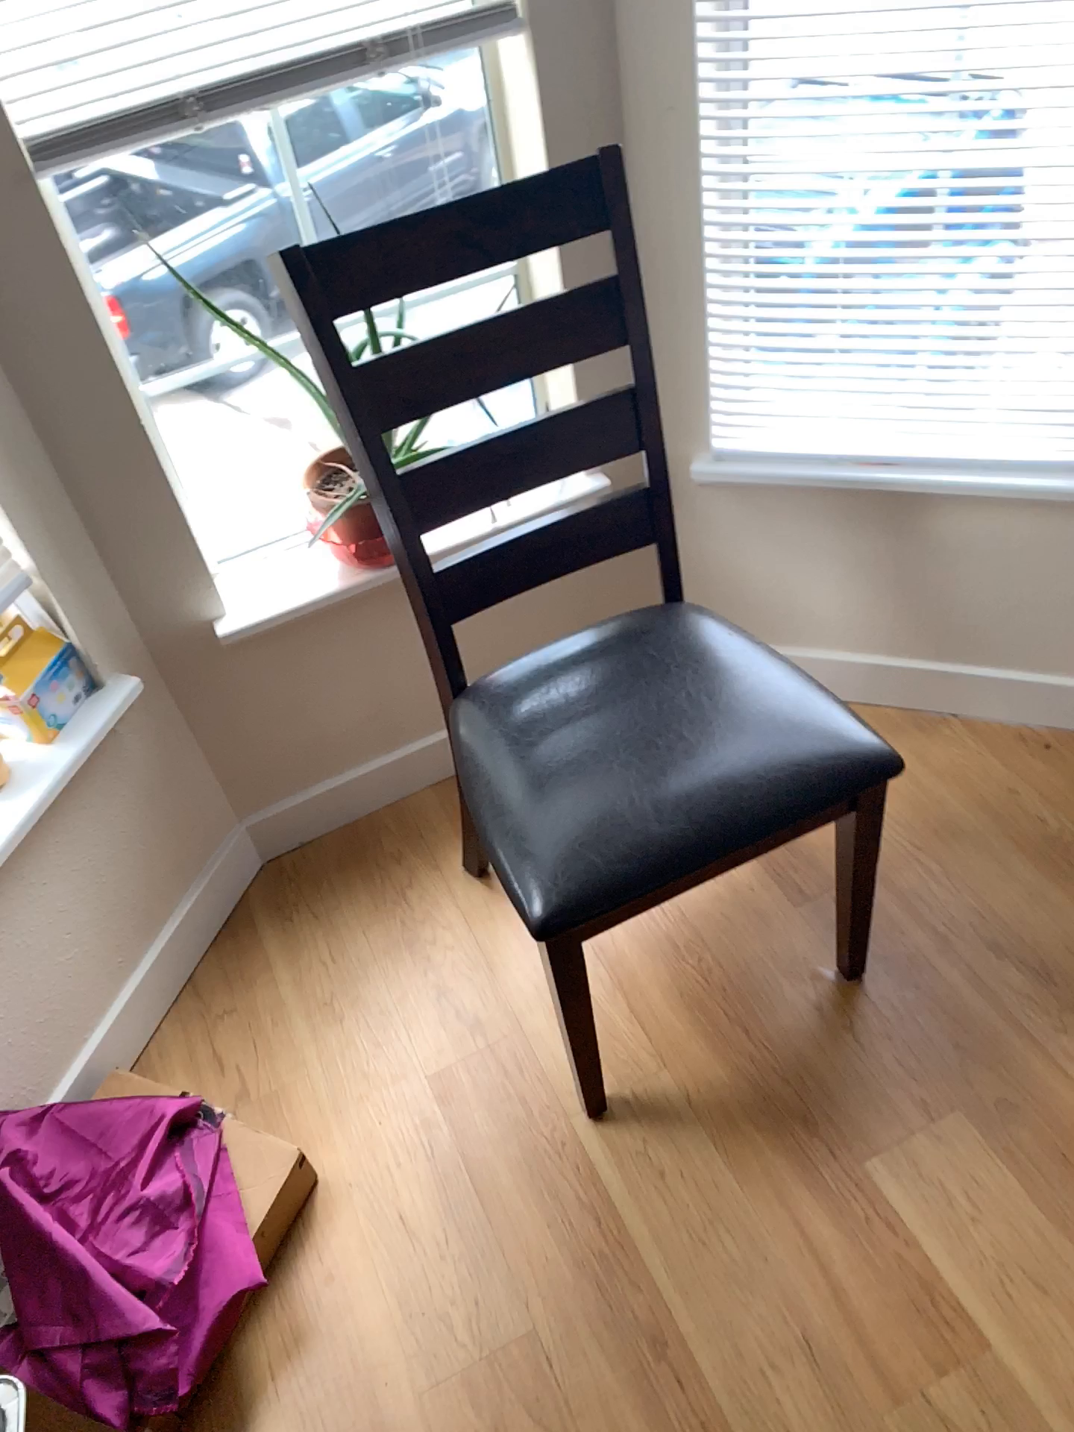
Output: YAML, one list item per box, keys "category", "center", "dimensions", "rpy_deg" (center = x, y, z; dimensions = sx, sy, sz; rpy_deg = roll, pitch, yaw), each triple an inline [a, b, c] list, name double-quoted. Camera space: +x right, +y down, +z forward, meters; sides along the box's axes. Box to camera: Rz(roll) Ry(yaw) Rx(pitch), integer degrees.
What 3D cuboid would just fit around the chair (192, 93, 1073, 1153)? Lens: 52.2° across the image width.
- category: "chair"
  center: [0.097, -0.066, 1.263]
  dimensions: [0.560, 0.946, 0.542]
  rpy_deg: [-23, 46, -12]
